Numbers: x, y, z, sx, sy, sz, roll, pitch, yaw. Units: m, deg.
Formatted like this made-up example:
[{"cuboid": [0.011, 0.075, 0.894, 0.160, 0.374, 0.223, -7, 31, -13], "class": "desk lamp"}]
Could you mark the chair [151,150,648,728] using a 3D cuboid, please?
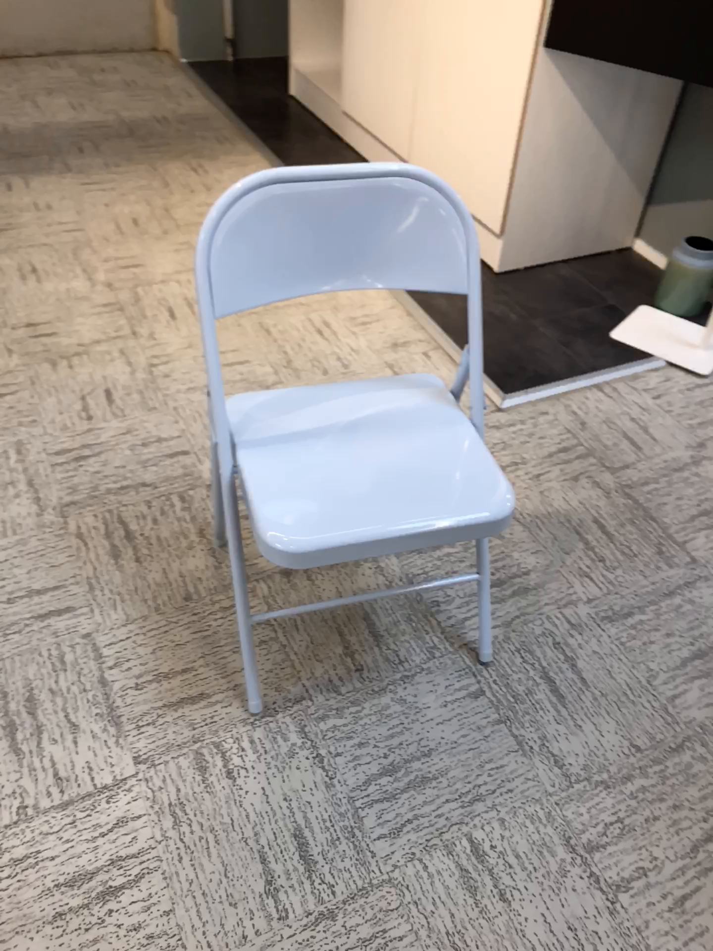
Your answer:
[{"cuboid": [-0.001, -0.056, 1.237, 0.511, 0.706, 0.482, -9, 44, -15], "class": "chair"}]
